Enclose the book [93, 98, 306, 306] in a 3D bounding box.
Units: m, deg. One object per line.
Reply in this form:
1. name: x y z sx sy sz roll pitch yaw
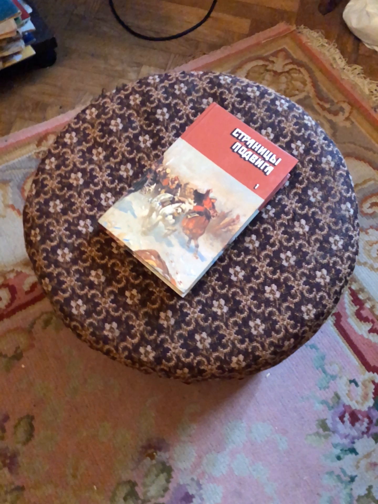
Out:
1. book: 0.014 -0.062 0.477 0.134 0.040 0.206 39 76 13
